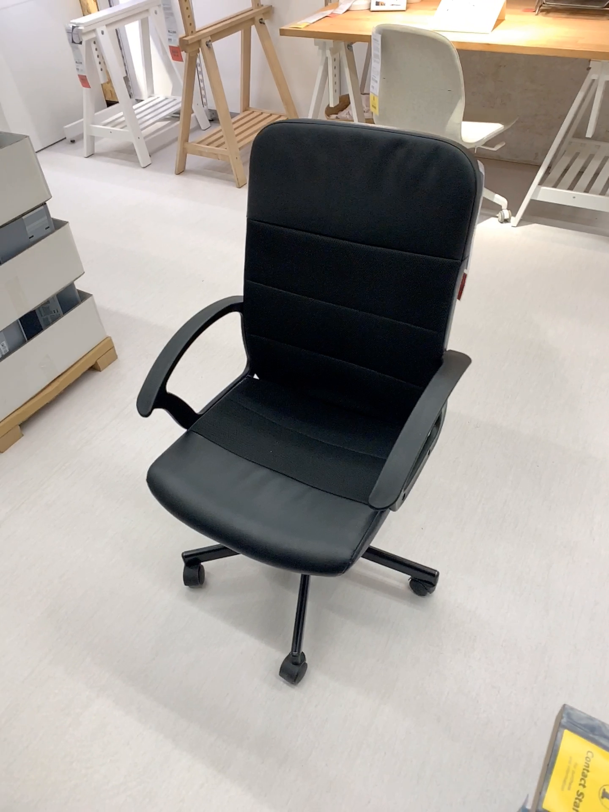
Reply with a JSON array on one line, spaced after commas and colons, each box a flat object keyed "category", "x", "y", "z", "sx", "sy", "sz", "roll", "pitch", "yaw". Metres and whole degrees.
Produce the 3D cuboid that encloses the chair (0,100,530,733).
[{"category": "chair", "x": -0.022, "y": 0.042, "z": 1.228, "sx": 0.611, "sy": 0.996, "sz": 0.581, "roll": 17, "pitch": 47, "yaw": 22}]
